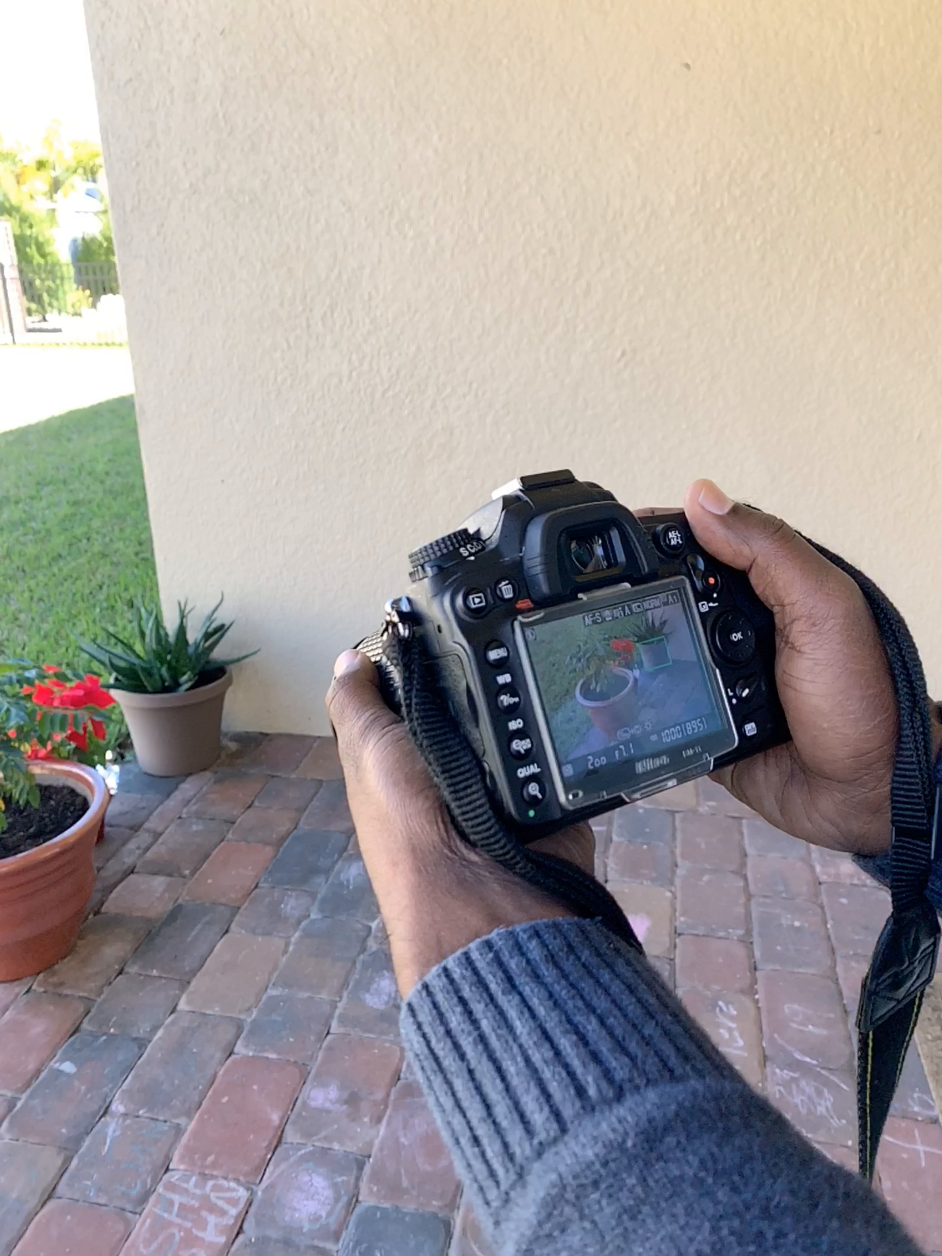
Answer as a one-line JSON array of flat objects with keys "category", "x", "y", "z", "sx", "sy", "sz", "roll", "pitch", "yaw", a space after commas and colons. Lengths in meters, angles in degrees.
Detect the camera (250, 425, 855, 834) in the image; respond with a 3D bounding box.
[{"category": "camera", "x": 0.014, "y": 0.009, "z": 0.382, "sx": 0.130, "sy": 0.101, "sz": 0.199, "roll": -13, "pitch": -3, "yaw": -29}]
